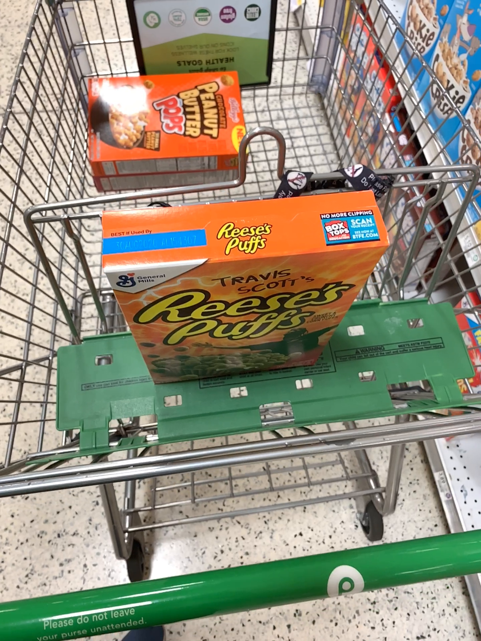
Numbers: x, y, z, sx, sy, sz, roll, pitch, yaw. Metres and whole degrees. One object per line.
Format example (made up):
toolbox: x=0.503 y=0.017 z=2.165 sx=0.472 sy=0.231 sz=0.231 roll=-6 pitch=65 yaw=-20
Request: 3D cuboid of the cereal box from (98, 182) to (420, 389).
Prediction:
cereal box: x=0.007 y=-0.010 z=0.459 sx=0.210 sy=0.278 sz=0.050 roll=-6 pitch=67 yaw=-5
